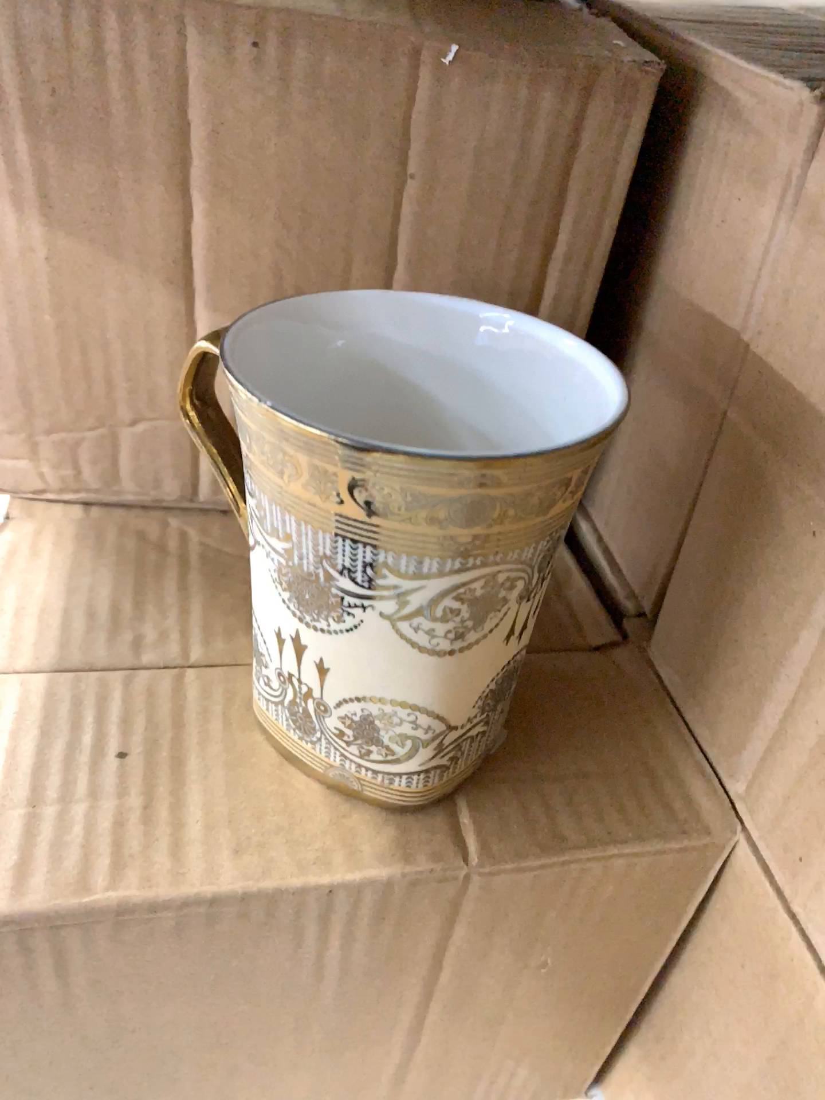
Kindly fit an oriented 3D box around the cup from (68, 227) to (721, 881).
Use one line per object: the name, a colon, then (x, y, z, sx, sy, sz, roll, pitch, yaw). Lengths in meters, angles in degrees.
cup: (-0.006, -0.008, 0.204, 0.105, 0.092, 0.084, 27, 41, 27)
